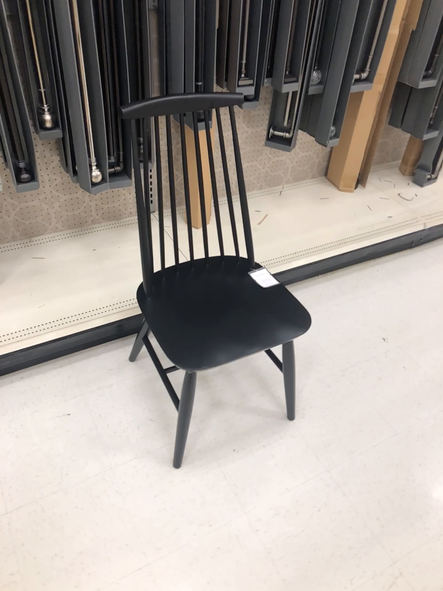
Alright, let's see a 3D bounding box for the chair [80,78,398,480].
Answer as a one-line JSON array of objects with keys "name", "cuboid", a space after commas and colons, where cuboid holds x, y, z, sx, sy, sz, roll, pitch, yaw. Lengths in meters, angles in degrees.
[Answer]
[{"name": "chair", "cuboid": [-0.024, -0.050, 1.436, 0.518, 0.909, 0.610, -16, 46, -23]}]
